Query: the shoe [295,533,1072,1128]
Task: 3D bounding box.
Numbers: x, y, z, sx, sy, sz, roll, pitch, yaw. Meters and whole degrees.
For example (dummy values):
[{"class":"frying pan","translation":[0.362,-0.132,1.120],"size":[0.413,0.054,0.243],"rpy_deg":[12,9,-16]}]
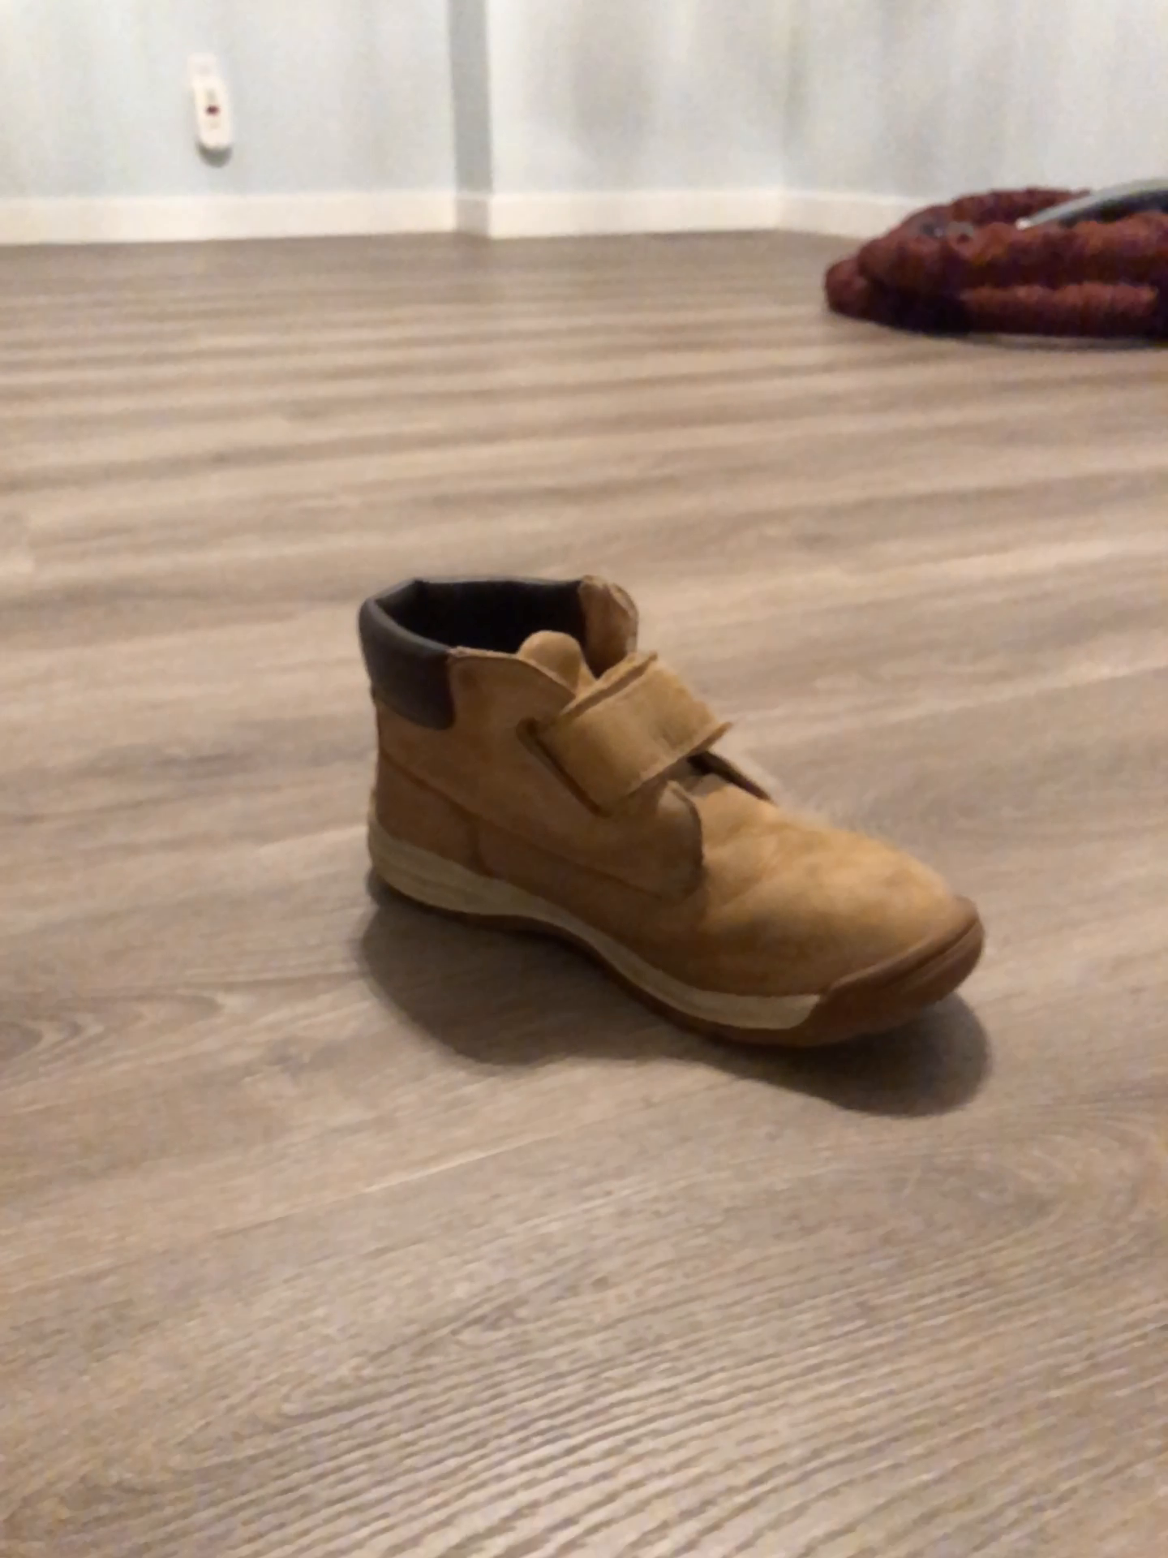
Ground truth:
[{"class":"shoe","translation":[0.023,0.001,0.390],"size":[0.200,0.100,0.090],"rpy_deg":[17,30,31]}]
